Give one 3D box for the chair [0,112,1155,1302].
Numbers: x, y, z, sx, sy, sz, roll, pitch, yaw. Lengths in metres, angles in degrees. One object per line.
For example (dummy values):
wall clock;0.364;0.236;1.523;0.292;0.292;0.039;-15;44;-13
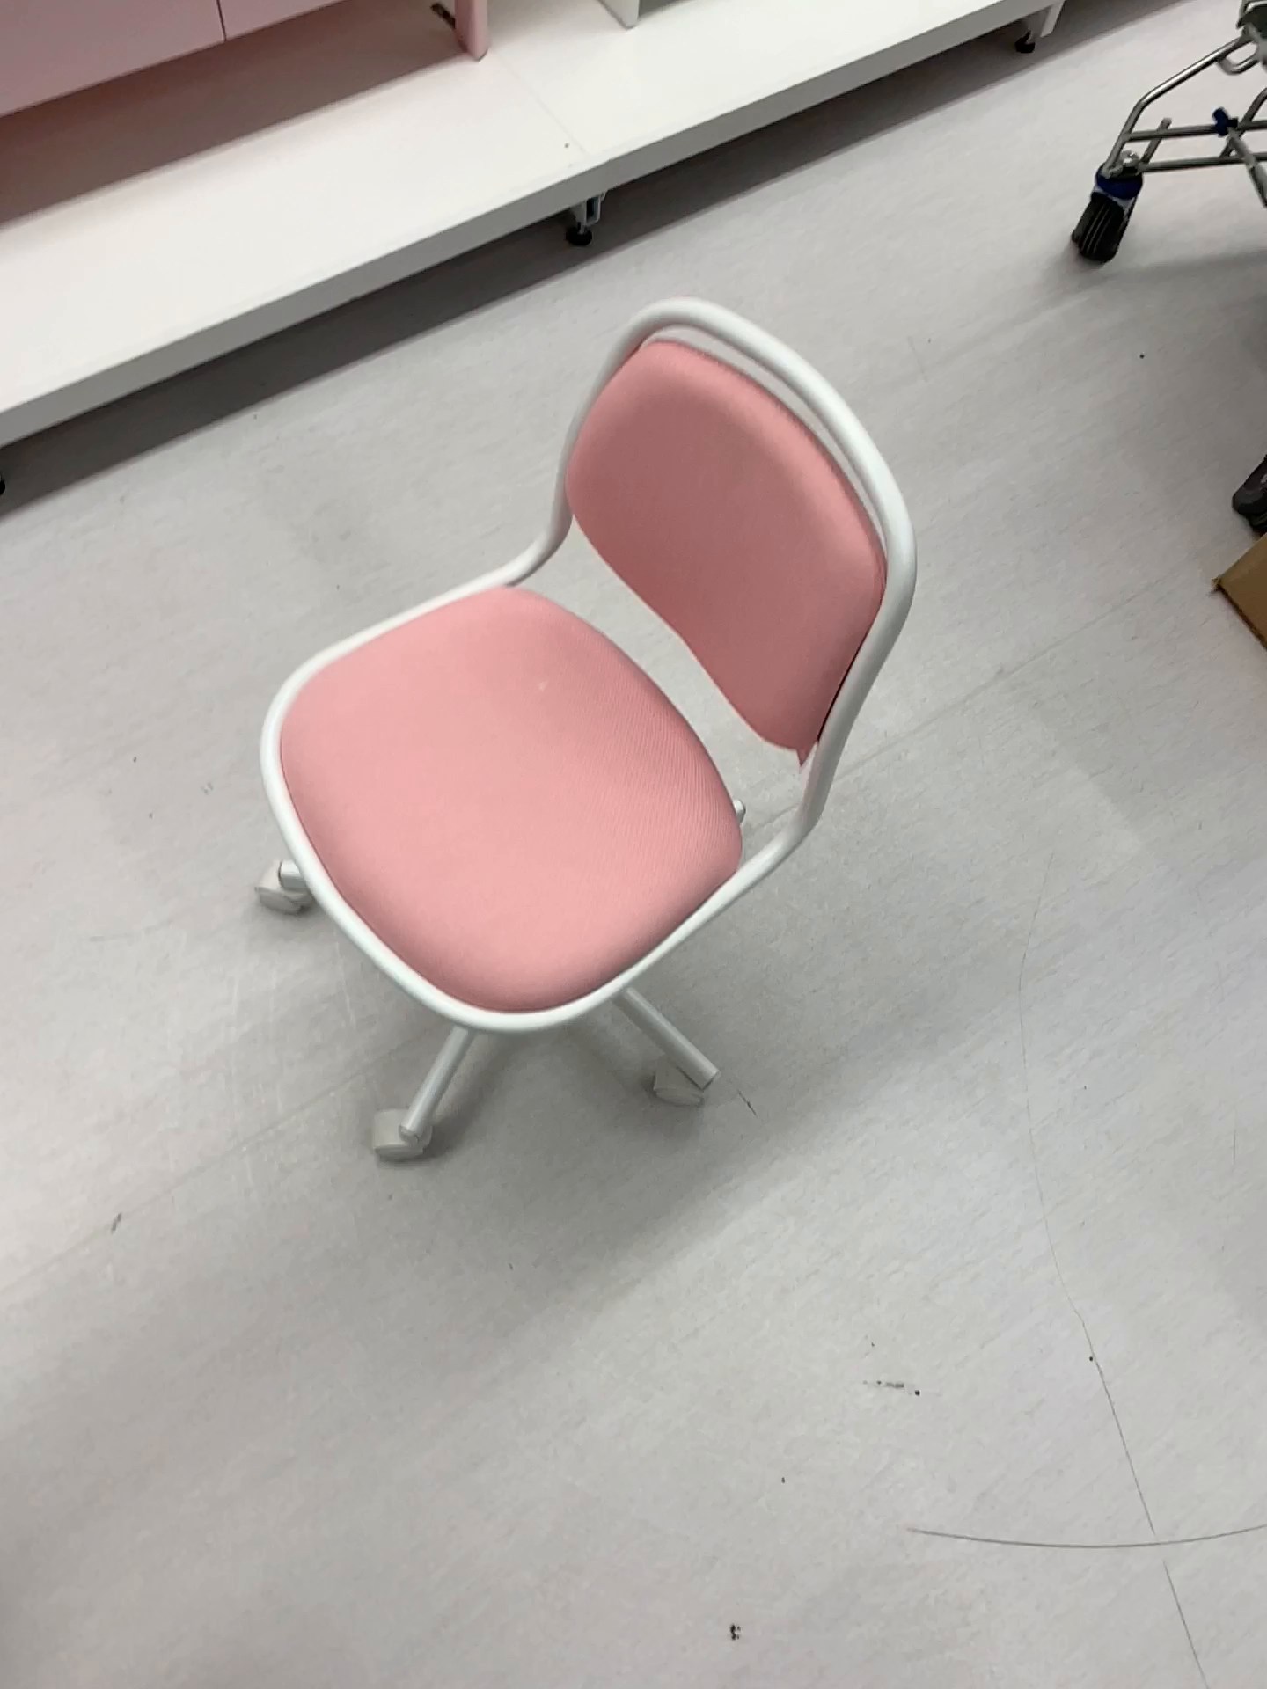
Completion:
chair;-0.095;-0.040;1.094;0.530;0.699;0.560;-33;74;-18
